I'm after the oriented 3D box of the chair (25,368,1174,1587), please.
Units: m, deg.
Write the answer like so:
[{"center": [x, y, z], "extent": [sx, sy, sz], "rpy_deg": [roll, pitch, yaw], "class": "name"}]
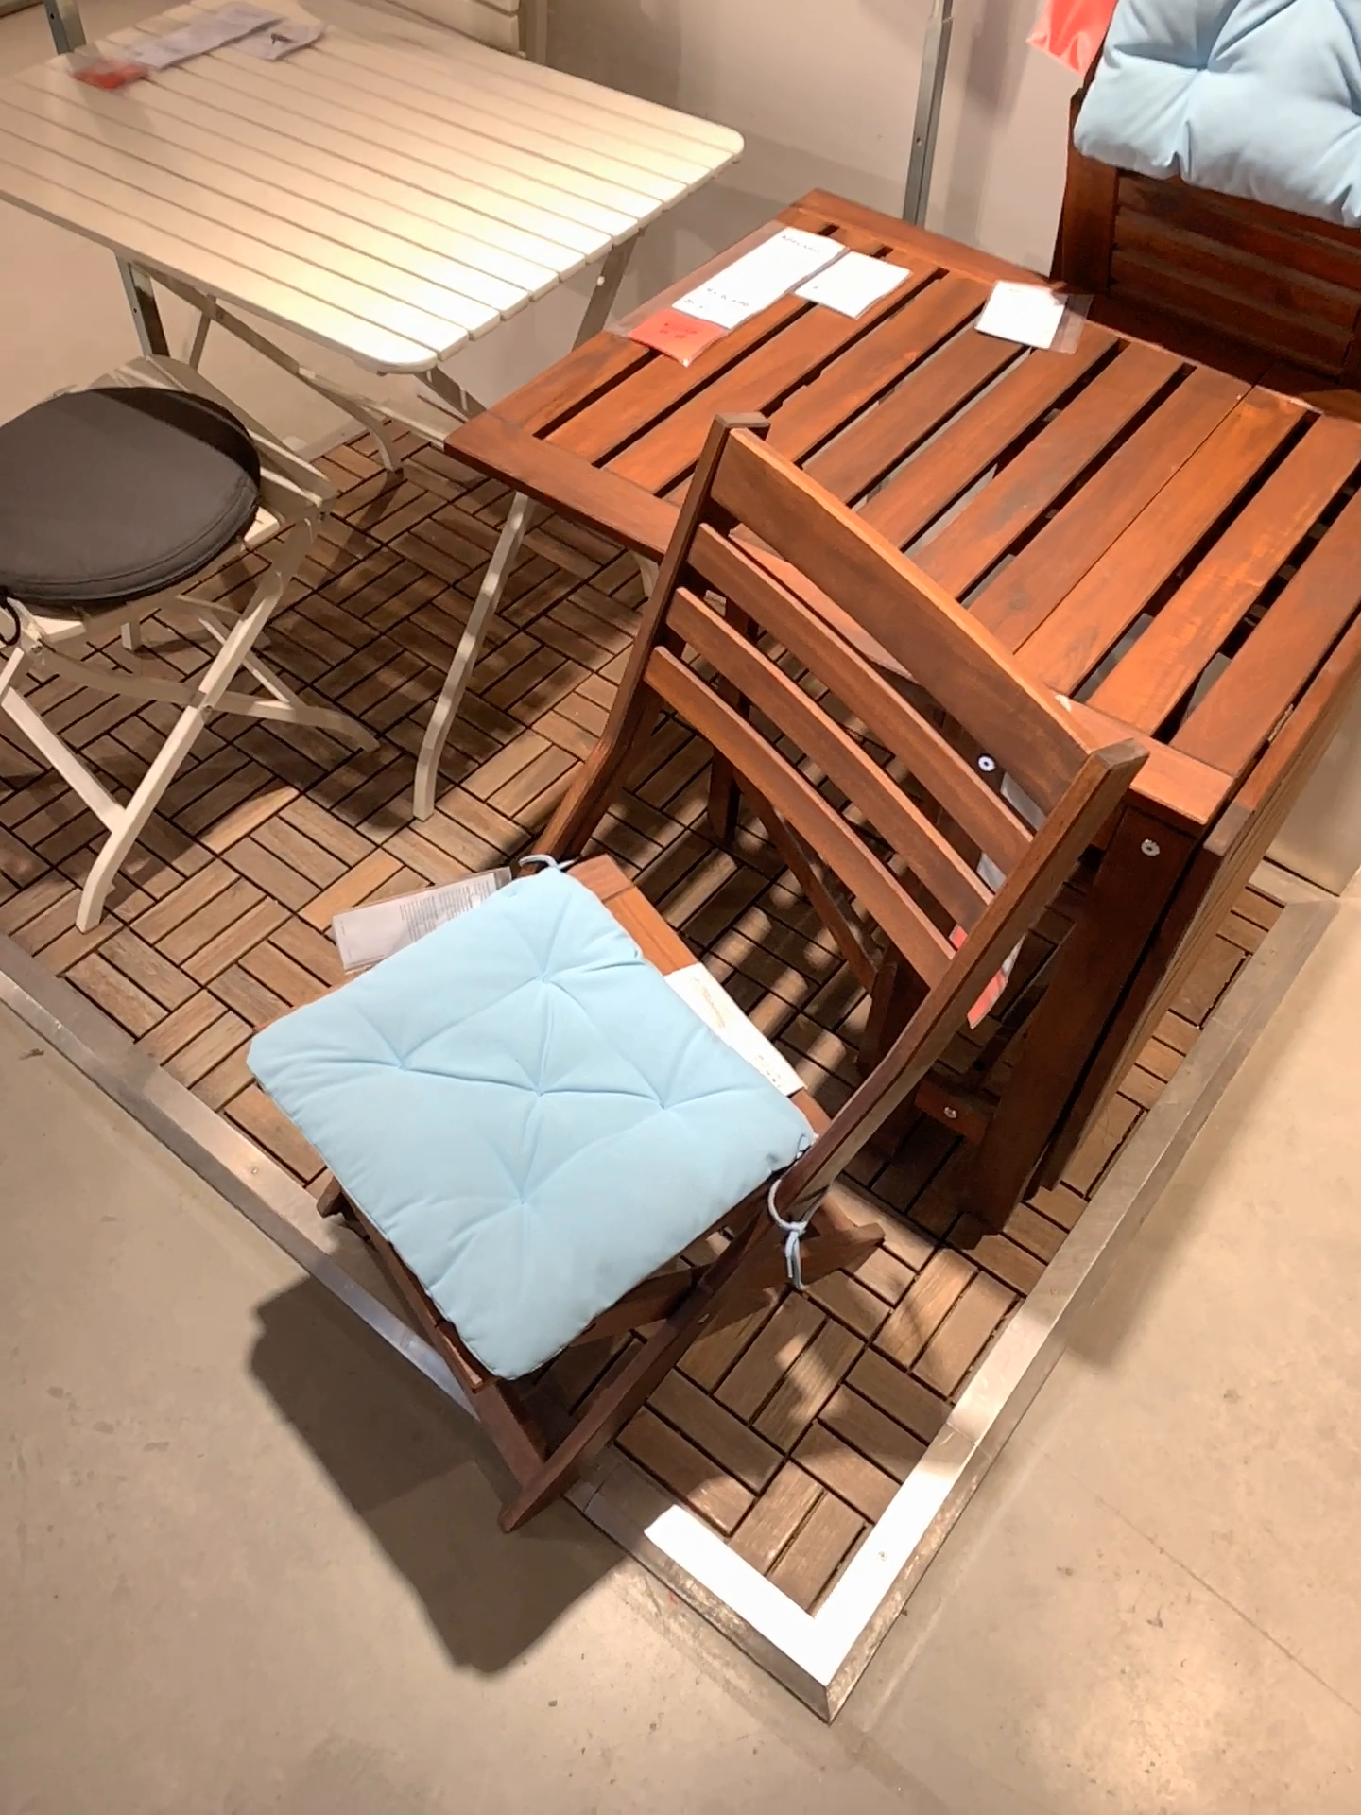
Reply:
[{"center": [-0.069, 0.099, 1.139], "extent": [0.520, 0.778, 0.471], "rpy_deg": [-27, 58, -21], "class": "chair"}]
